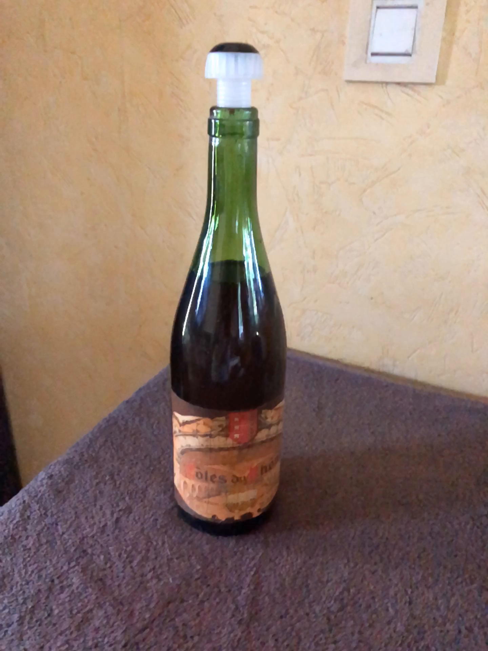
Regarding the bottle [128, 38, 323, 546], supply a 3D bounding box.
[{"bbox_3d":[-0.014,-0.009,0.353,0.090,0.308,0.090,1,24,0],"label":"bottle"}]
